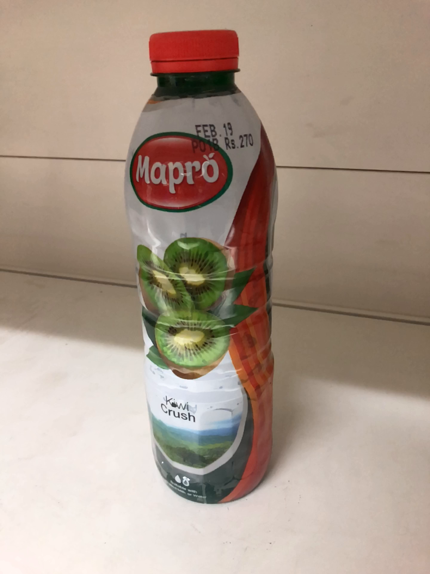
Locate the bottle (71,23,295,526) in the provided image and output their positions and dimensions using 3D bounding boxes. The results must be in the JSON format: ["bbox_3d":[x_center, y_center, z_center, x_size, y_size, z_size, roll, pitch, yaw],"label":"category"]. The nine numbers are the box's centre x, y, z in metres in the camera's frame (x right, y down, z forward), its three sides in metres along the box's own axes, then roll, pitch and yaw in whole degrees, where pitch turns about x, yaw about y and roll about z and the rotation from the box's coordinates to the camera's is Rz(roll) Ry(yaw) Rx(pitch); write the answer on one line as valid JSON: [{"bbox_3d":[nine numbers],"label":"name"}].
[{"bbox_3d":[-0.007,0.003,0.269,0.080,0.258,0.070,6,26,17],"label":"bottle"}]
